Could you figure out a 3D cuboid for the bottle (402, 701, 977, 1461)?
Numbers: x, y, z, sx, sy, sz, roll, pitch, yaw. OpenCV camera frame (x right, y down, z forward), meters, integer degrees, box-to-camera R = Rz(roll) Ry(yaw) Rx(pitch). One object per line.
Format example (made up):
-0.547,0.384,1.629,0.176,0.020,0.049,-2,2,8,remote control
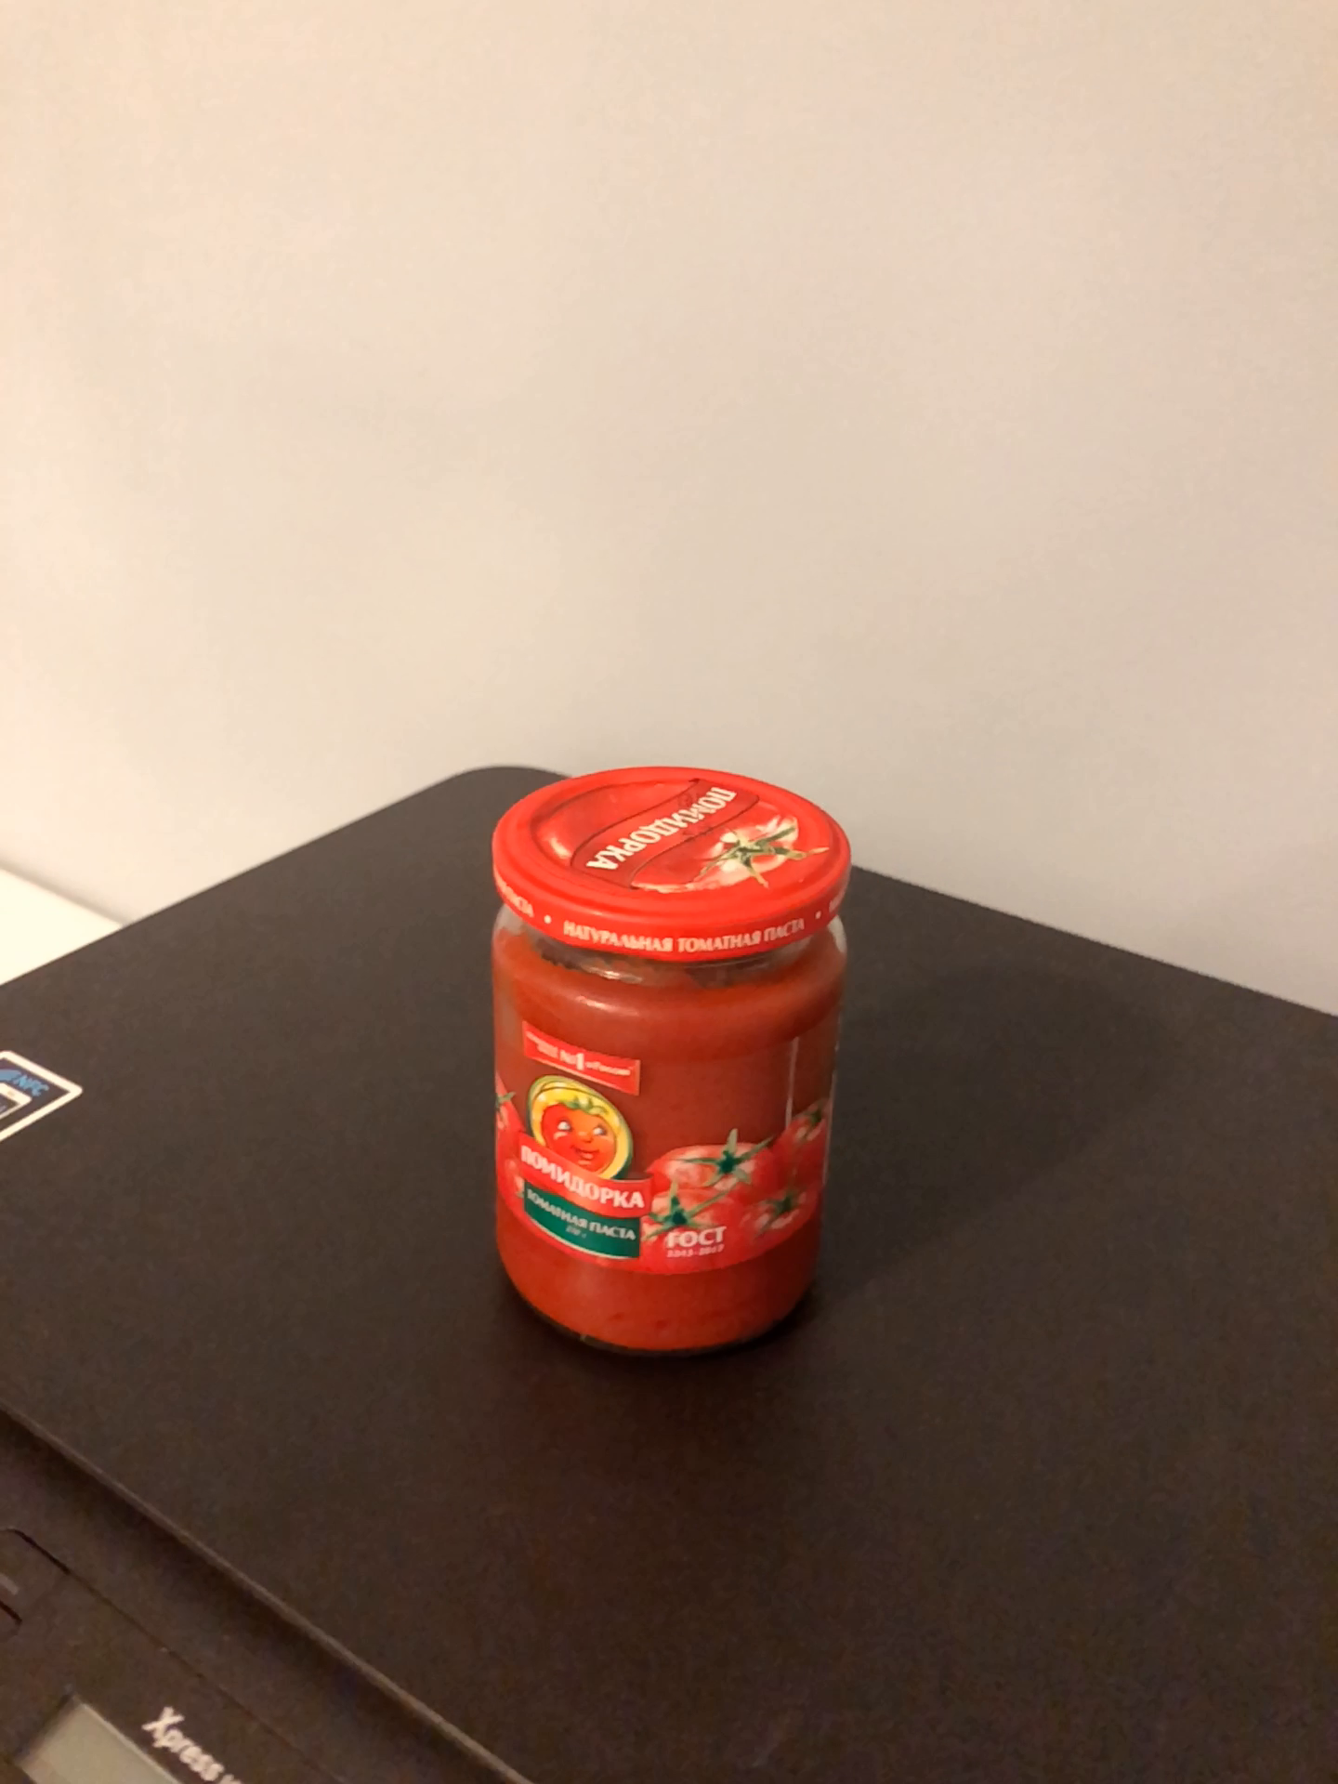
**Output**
0.001,0.032,0.299,0.070,0.109,0.080,-22,37,-39,bottle
